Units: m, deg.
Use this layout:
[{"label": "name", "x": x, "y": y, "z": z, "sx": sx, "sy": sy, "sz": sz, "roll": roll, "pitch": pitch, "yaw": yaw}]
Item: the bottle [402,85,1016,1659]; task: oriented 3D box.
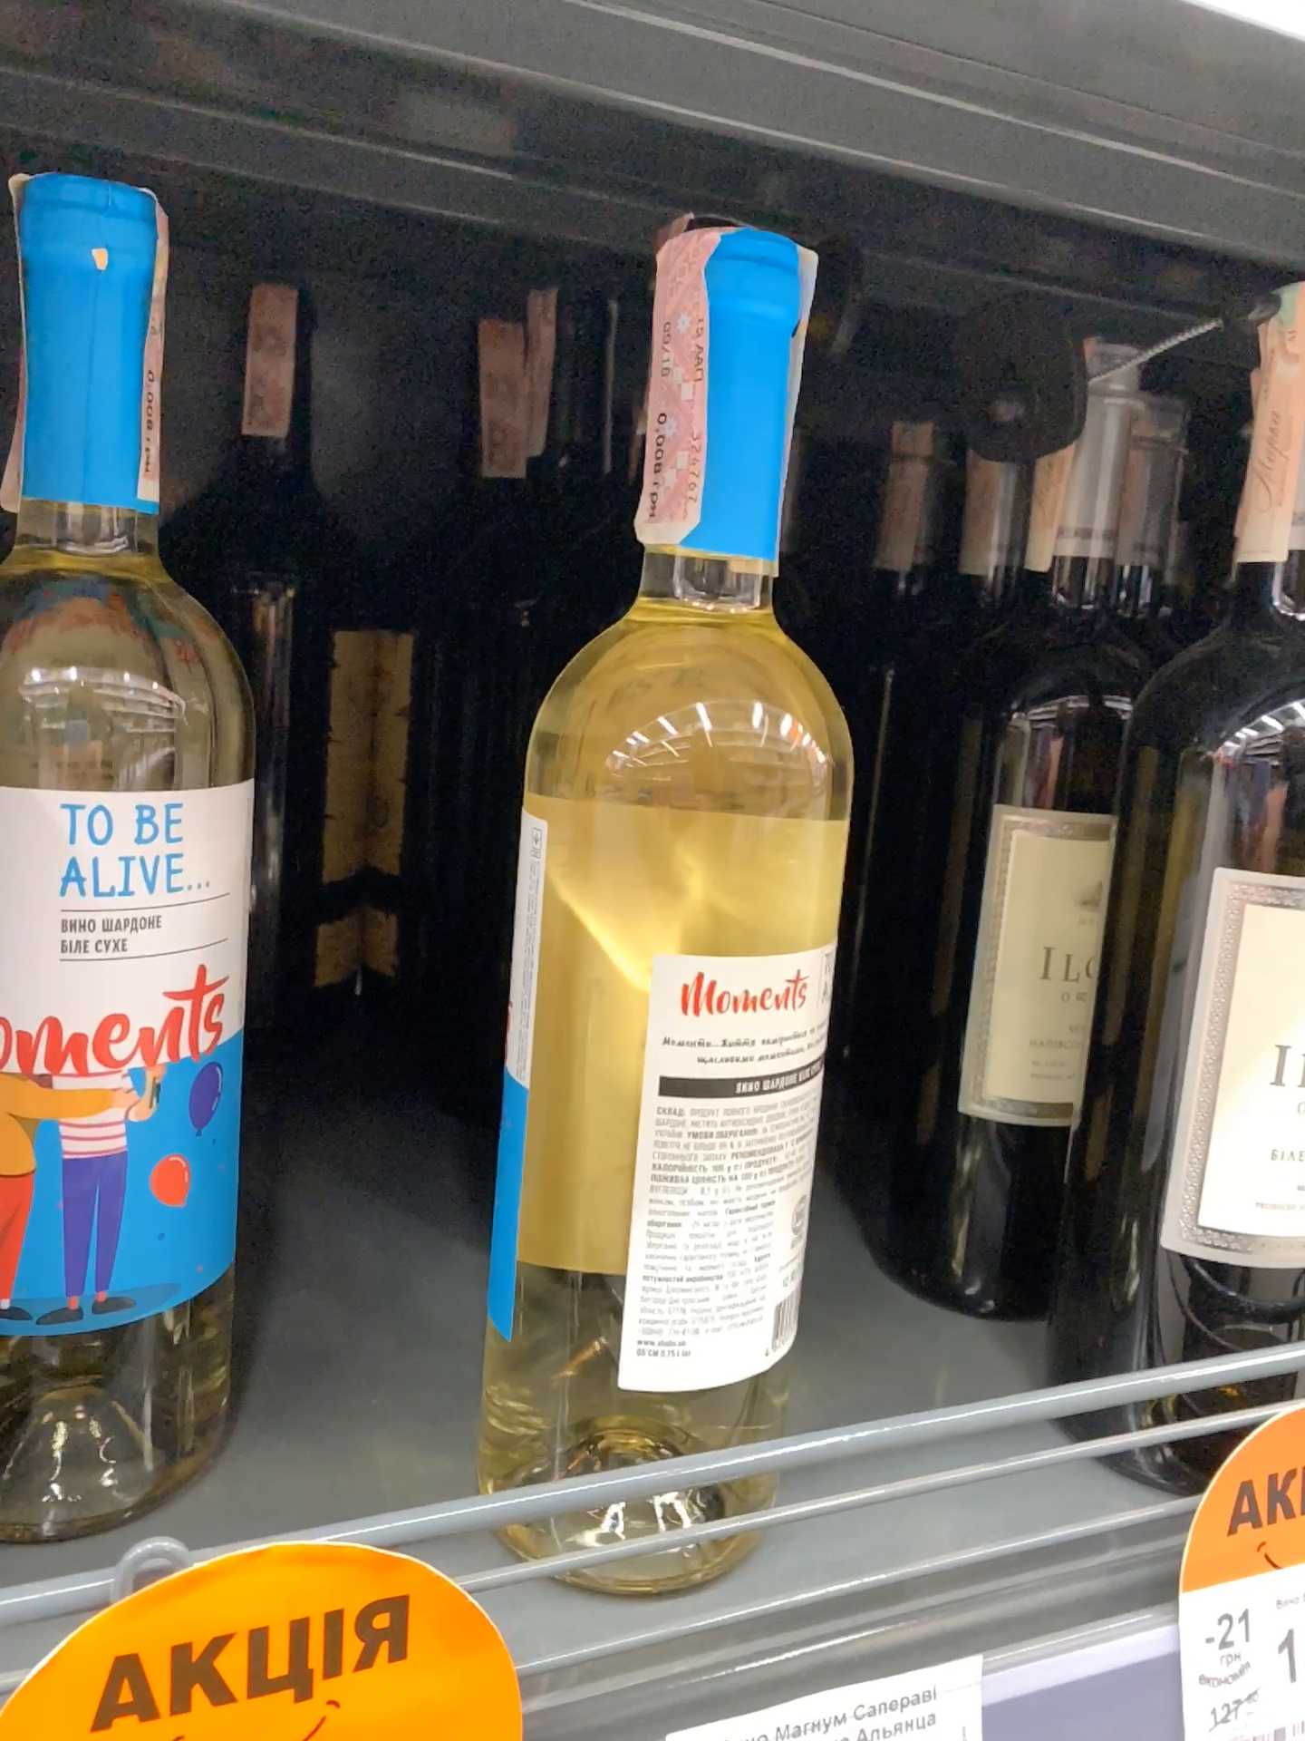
[{"label": "bottle", "x": 0.006, "y": 0.006, "z": 0.320, "sx": 0.080, "sy": 0.313, "sz": 0.081, "roll": 5, "pitch": 11, "yaw": -1}]
